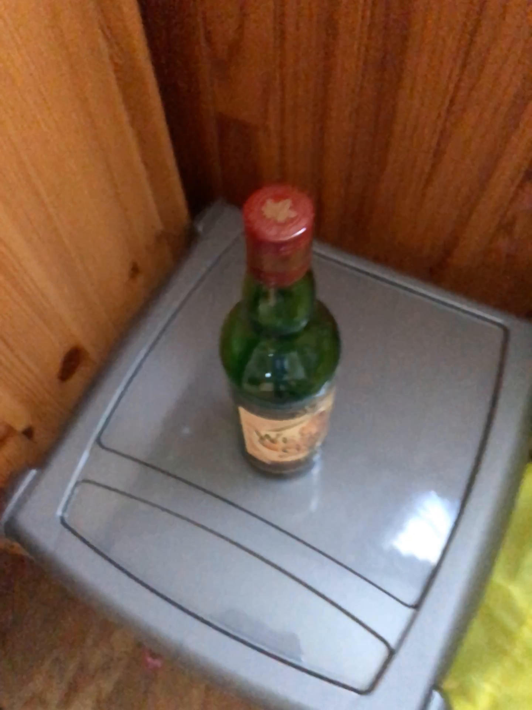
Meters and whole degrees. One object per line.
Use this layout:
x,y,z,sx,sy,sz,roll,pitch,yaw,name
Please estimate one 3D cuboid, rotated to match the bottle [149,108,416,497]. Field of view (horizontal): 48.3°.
0.009,0.002,0.380,0.080,0.299,0.080,-1,64,1,bottle
